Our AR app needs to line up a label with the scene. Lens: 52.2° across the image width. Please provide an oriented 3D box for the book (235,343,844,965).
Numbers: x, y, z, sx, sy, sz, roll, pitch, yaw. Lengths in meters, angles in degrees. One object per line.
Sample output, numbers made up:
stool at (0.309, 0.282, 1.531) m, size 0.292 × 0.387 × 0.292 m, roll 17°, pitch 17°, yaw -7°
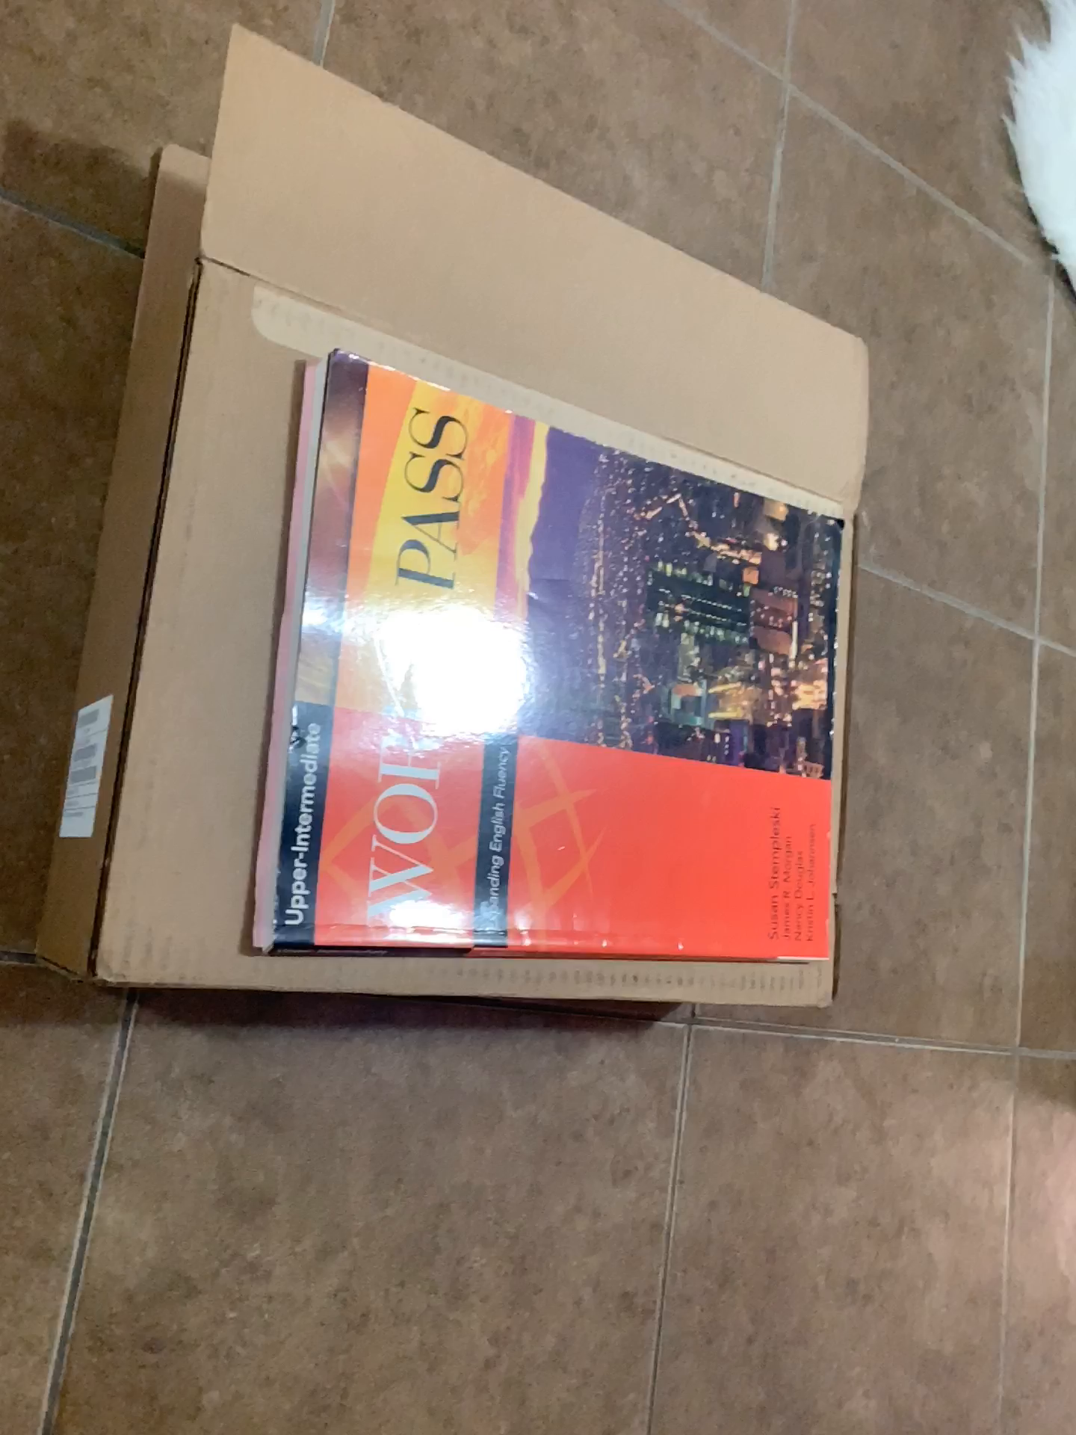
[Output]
book at (0.023, -0.009, 0.451) m, size 0.271 × 0.018 × 0.211 m, roll 9°, pitch 80°, yaw -32°
